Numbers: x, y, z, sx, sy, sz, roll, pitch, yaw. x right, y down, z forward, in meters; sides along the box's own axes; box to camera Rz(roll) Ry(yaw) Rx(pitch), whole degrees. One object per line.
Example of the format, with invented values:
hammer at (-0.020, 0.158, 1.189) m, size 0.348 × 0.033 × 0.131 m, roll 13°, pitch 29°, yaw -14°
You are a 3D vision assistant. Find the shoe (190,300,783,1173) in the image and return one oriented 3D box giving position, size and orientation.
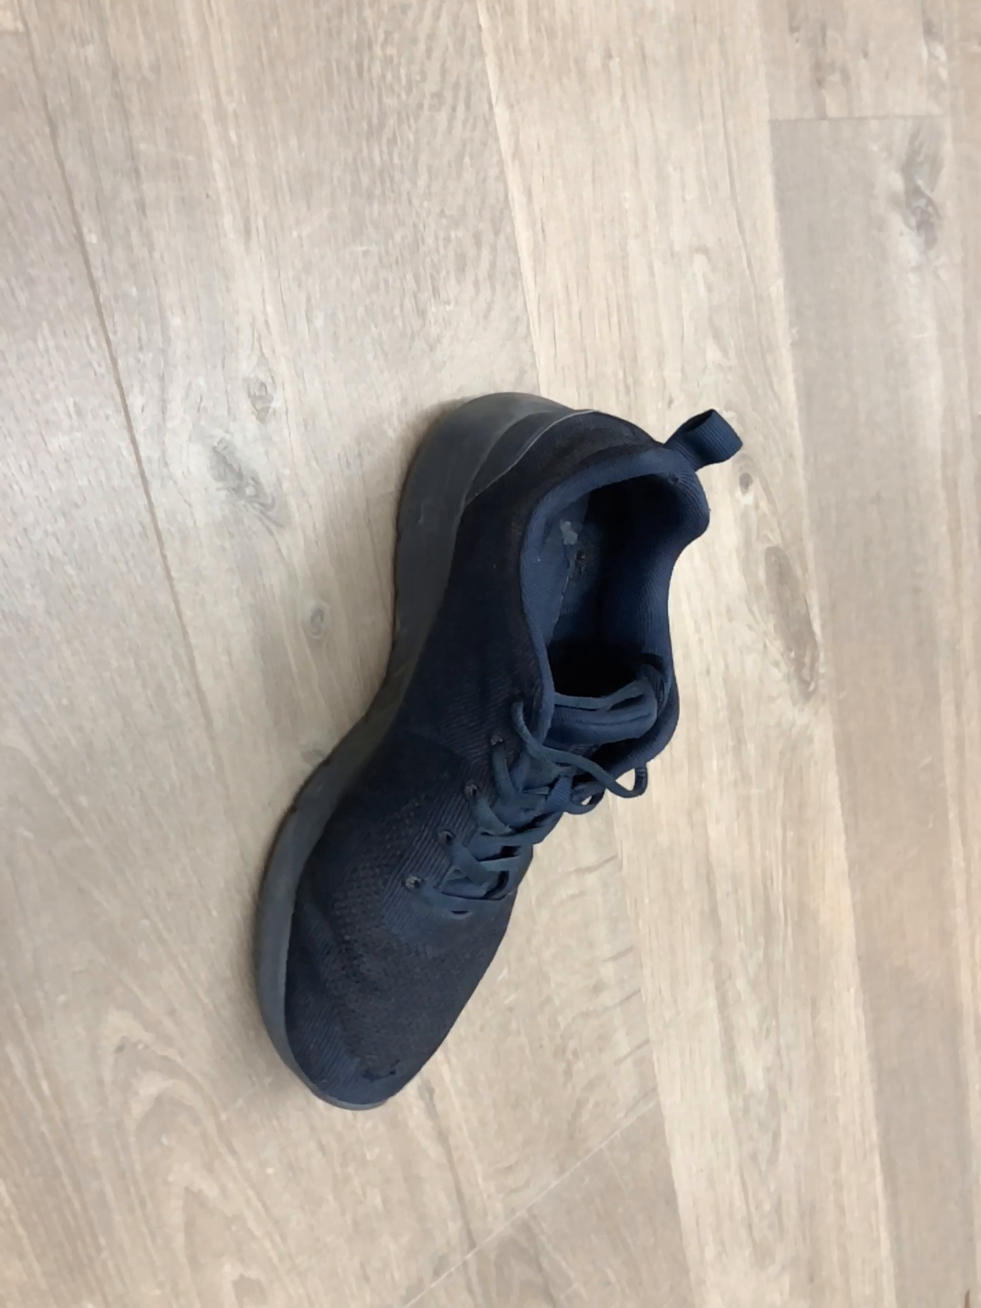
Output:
shoe at (0.001, 0.028, 0.418) m, size 0.100 × 0.109 × 0.290 m, roll 25°, pitch 80°, yaw -38°
